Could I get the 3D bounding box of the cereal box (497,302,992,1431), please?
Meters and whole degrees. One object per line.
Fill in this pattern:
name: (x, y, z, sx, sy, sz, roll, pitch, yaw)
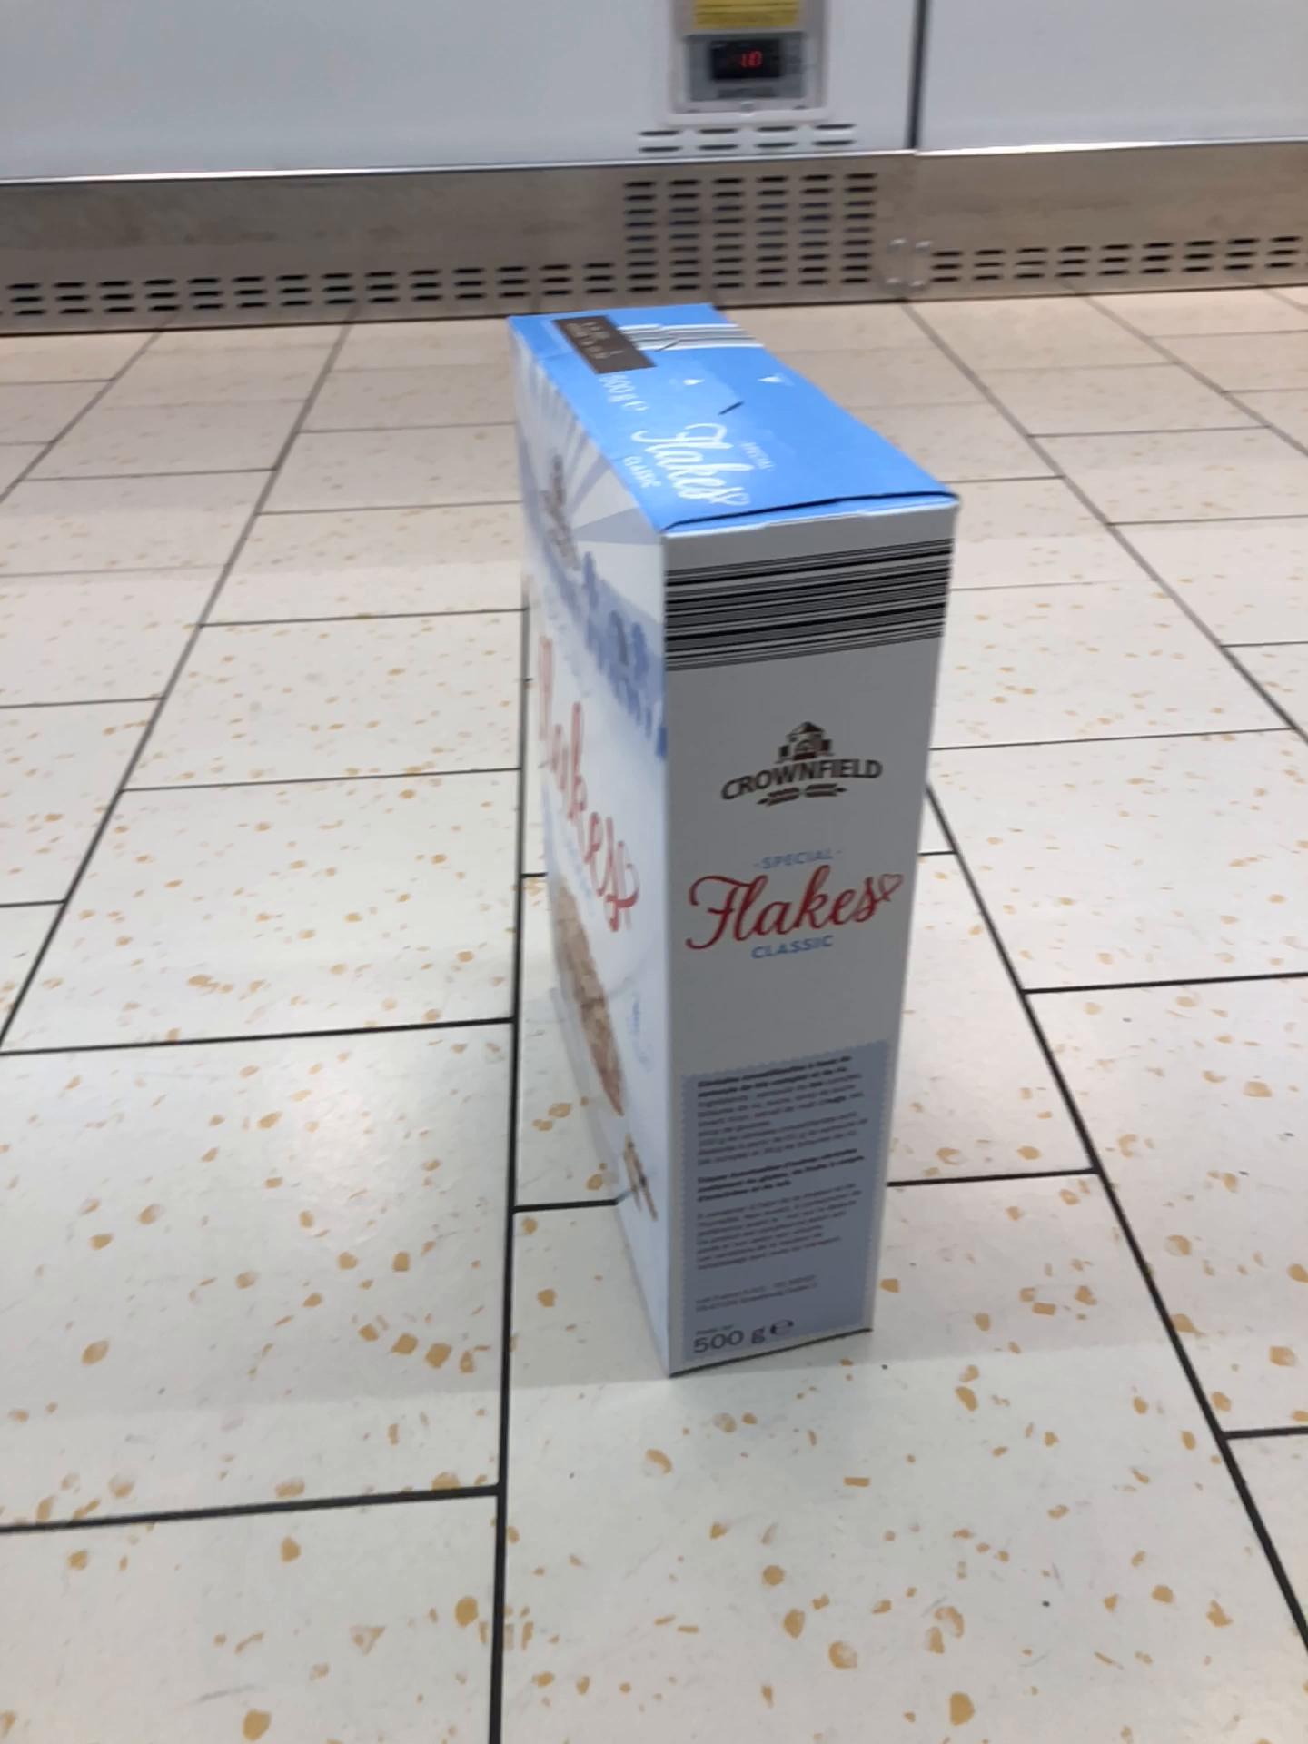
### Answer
cereal box: (0.012, -0.009, 0.433, 0.070, 0.268, 0.201, -8, 33, -11)
